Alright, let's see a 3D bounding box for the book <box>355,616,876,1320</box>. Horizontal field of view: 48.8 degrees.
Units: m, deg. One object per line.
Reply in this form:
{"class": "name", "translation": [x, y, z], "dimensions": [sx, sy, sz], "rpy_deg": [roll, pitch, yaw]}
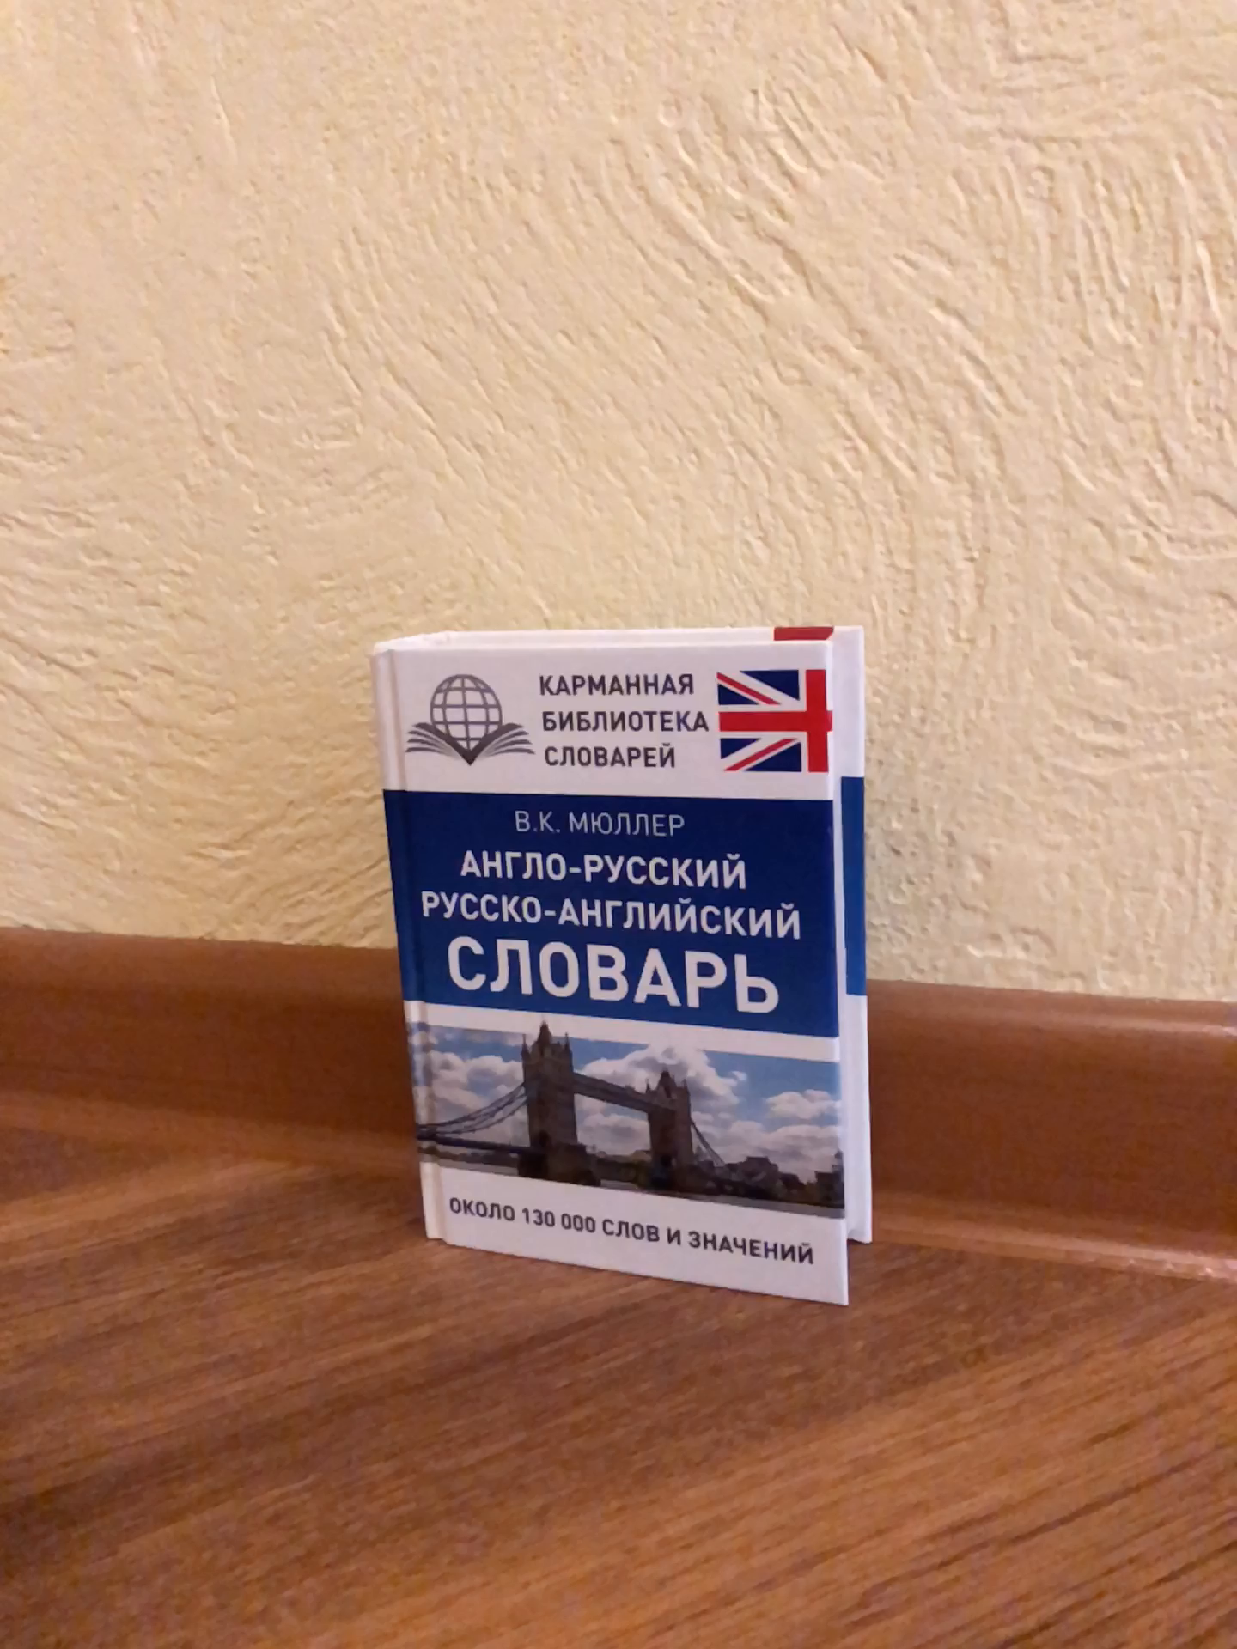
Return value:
{"class": "book", "translation": [0.002, 0.030, 0.312], "dimensions": [0.102, 0.146, 0.037], "rpy_deg": [1, 15, 21]}
